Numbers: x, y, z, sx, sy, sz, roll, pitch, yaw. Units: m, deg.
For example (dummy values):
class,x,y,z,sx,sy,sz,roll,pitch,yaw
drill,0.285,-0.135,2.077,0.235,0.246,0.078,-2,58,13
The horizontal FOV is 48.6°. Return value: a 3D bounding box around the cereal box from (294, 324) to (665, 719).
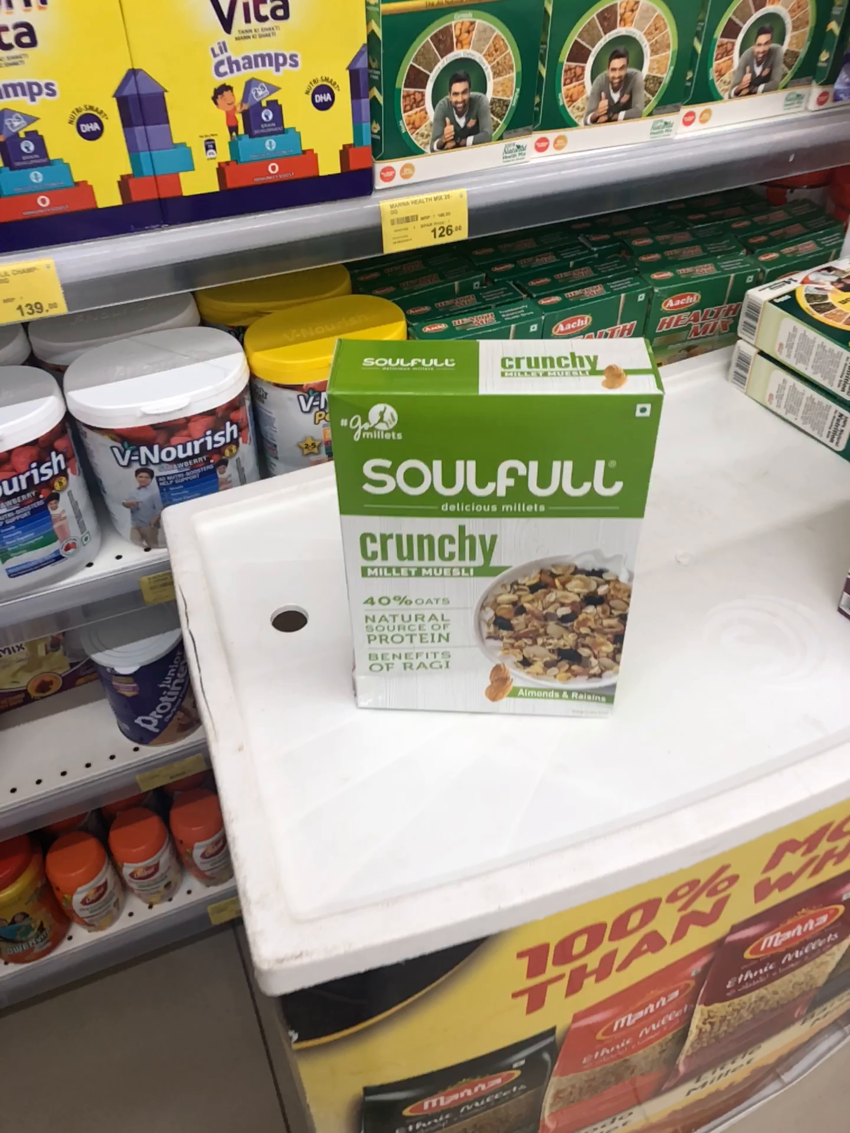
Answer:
class,x,y,z,sx,sy,sz,roll,pitch,yaw
cereal box,0.033,-0.016,0.567,0.180,0.249,0.070,1,44,5
